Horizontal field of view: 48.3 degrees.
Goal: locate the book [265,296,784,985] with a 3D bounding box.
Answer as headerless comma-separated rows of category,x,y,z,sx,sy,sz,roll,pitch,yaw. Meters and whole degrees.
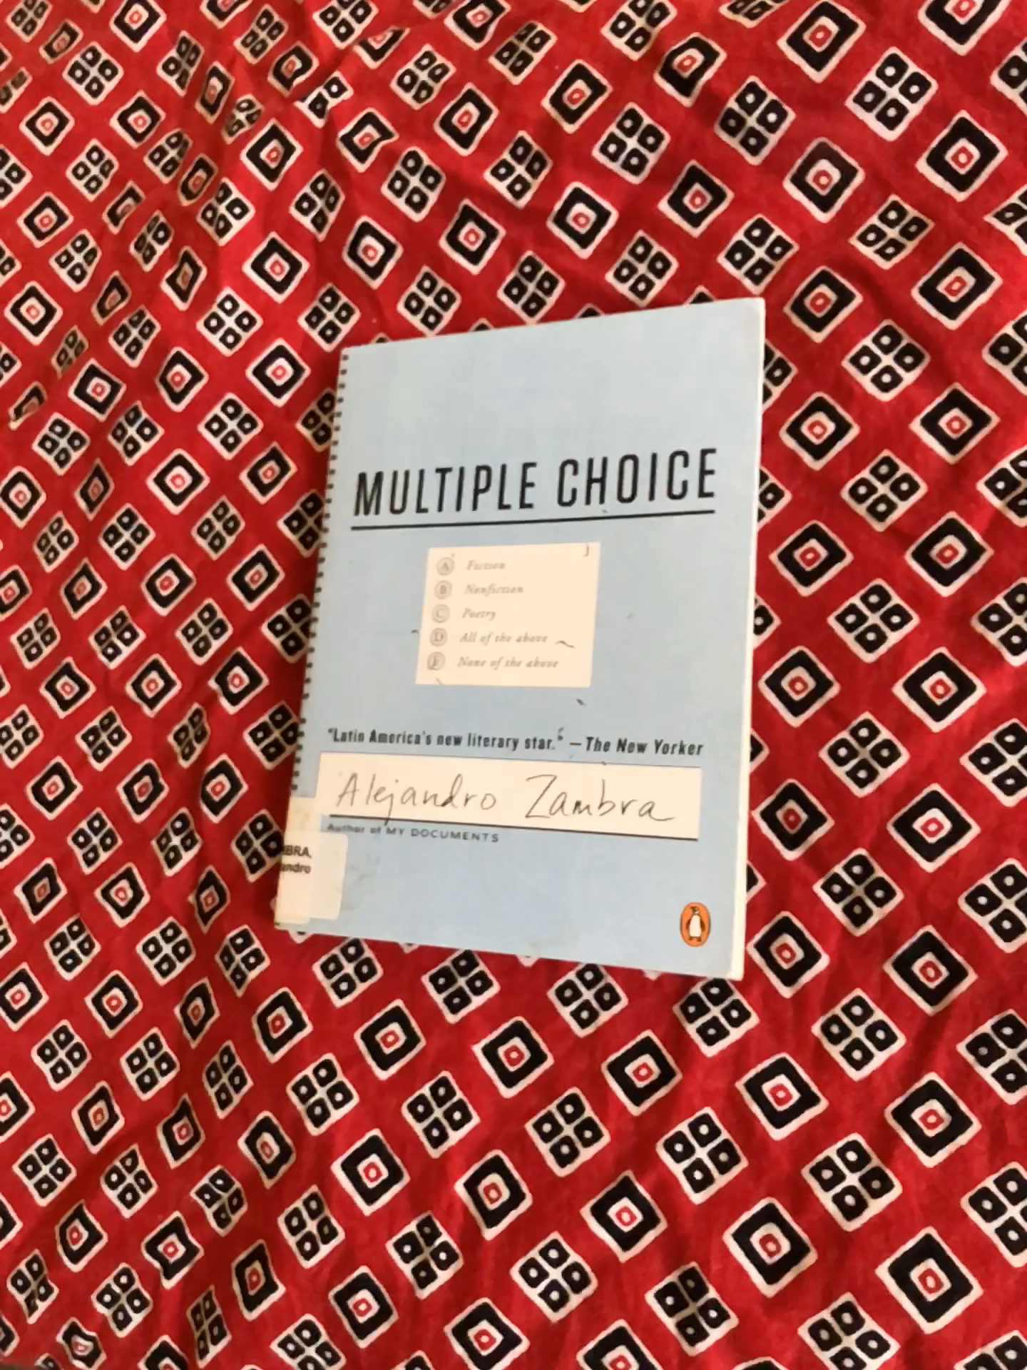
book,0.003,-0.014,0.318,0.133,0.020,0.176,1,80,21
